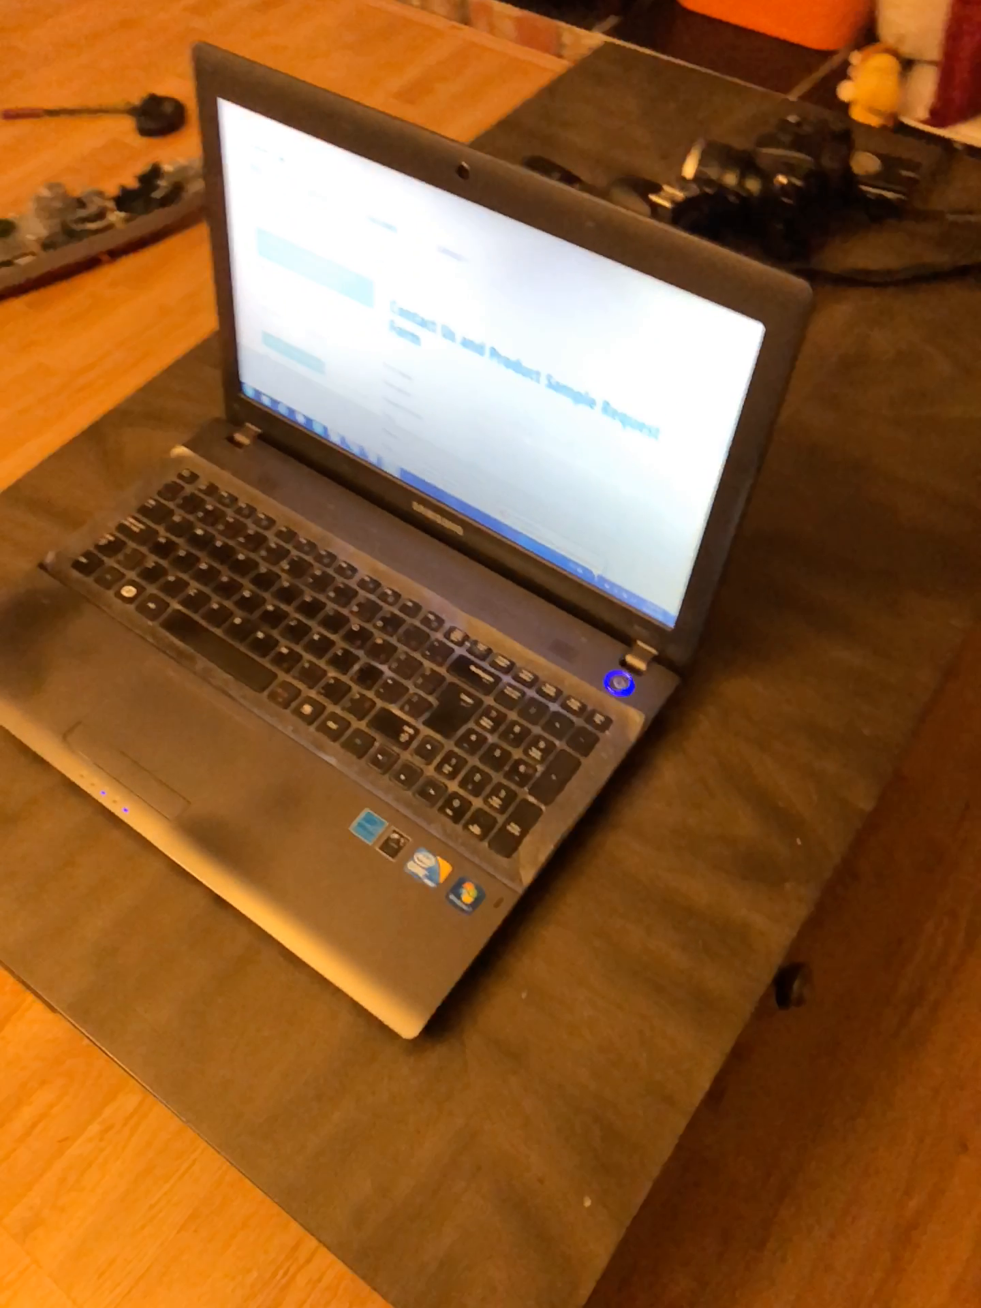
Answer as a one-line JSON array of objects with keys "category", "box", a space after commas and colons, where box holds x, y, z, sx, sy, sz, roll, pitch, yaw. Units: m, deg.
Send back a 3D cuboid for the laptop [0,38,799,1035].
[{"category": "laptop", "box": [-0.100, -0.079, 0.553, 0.368, 0.231, 0.309, 30, 60, 20]}]
